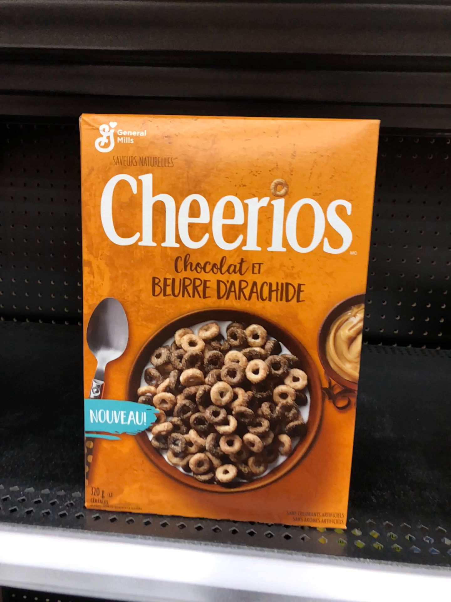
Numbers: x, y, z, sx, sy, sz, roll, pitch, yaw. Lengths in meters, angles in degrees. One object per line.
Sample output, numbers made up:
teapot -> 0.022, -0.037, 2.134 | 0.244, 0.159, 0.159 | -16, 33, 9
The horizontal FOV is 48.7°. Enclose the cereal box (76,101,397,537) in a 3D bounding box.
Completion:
cereal box -> 0.001, 0.015, 0.365 | 0.200, 0.289, 0.060 | 3, 10, 4
